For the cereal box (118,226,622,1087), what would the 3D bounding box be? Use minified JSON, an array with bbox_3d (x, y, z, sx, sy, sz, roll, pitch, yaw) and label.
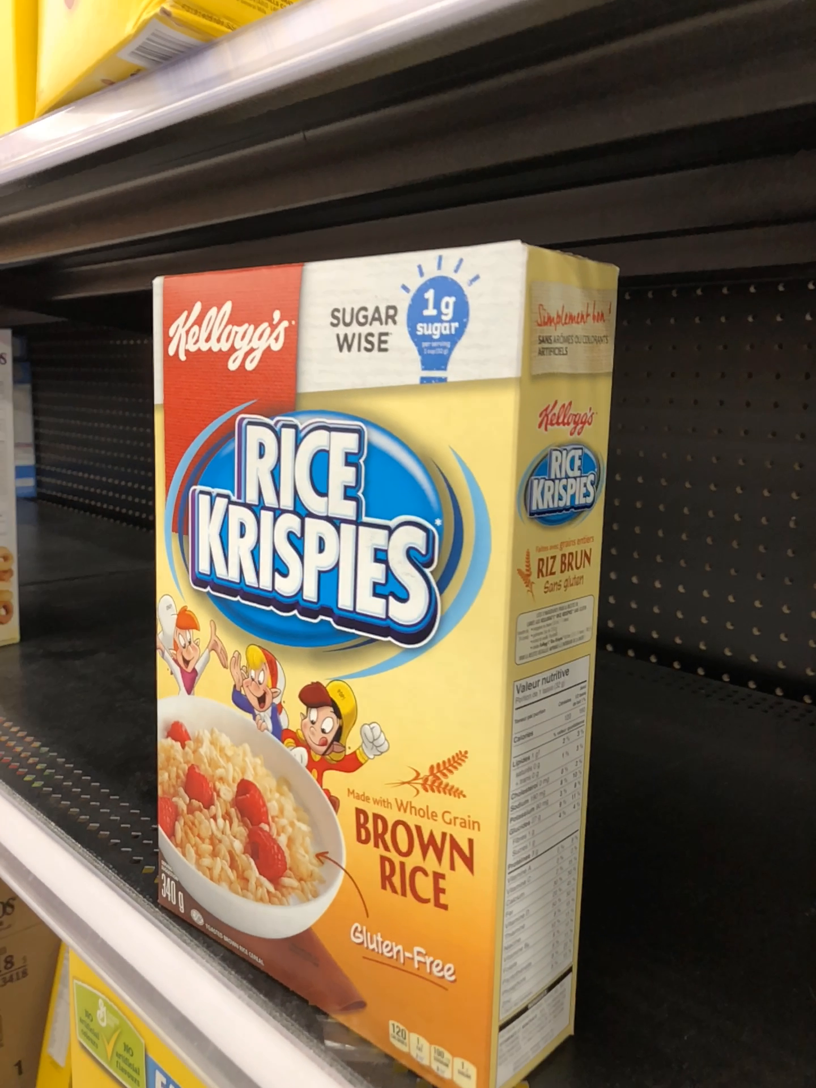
[{"bbox_3d":[-0.030,0.035,0.369,0.210,0.289,0.060,9,12,40],"label":"cereal box"}]
